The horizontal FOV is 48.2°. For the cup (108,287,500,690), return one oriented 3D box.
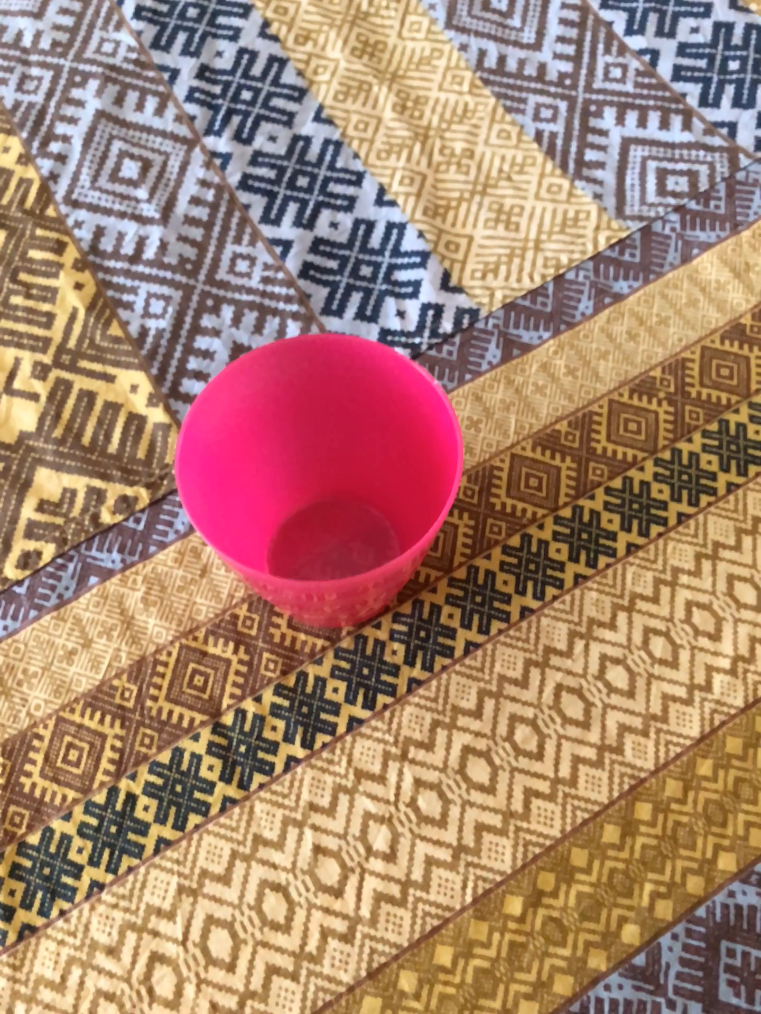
[{"bbox_3d":[-0.019,-0.003,0.258,0.077,0.067,0.078,1,67,-2],"label":"cup"}]
